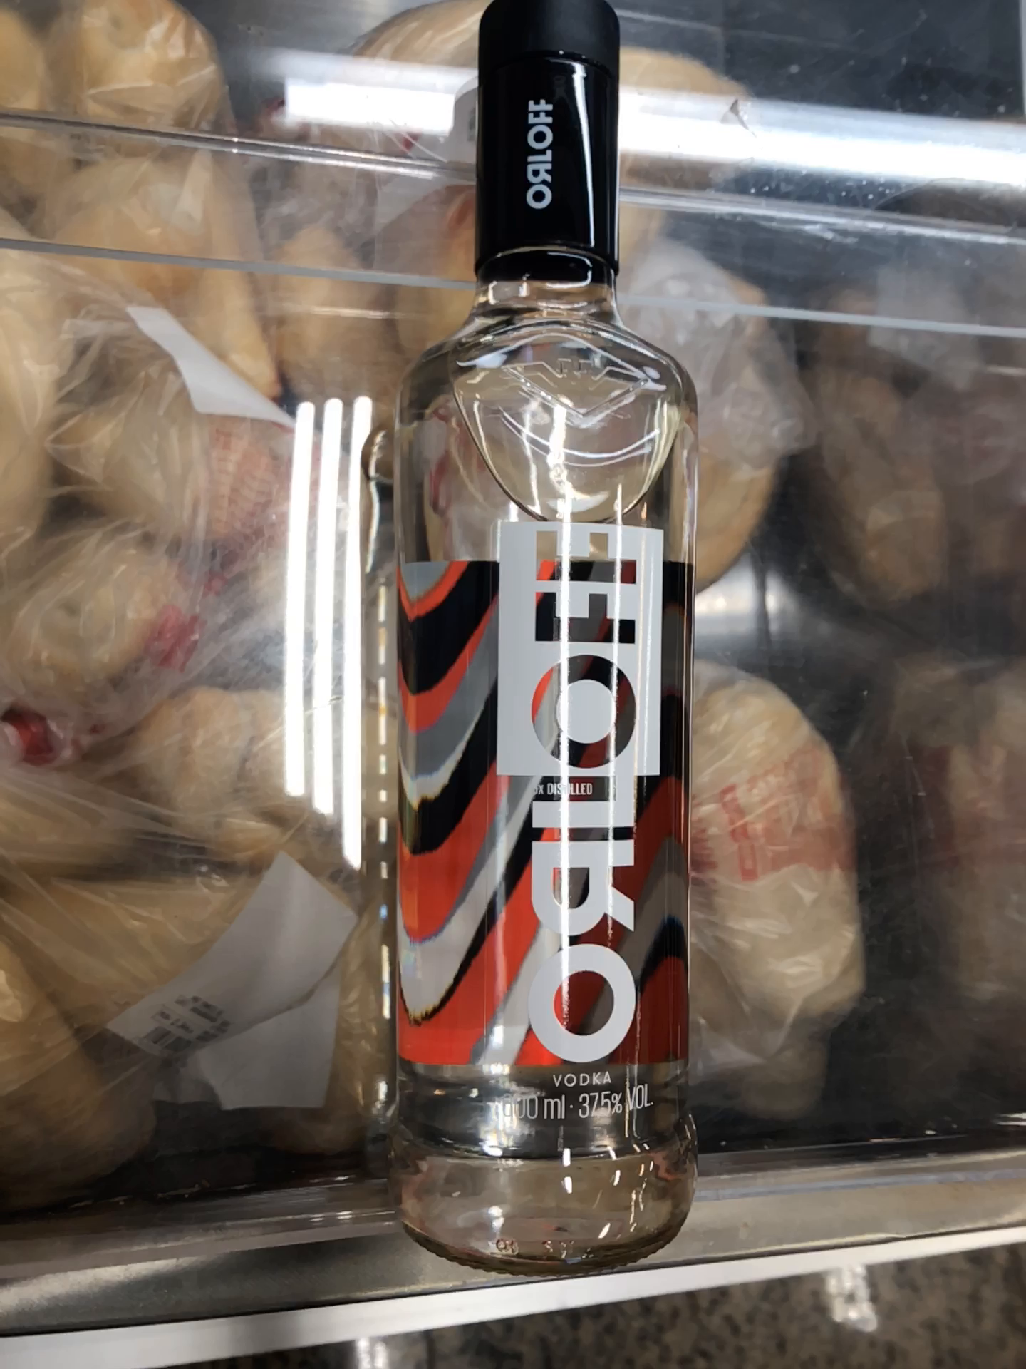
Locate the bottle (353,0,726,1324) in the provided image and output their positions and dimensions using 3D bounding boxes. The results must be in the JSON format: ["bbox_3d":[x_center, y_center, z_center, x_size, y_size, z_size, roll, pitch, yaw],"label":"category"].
[{"bbox_3d":[0.002,-0.024,0.269,0.070,0.070,0.300,1,89,-12],"label":"bottle"}]
